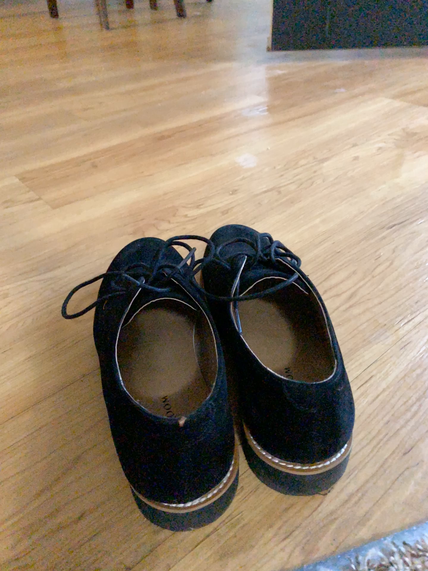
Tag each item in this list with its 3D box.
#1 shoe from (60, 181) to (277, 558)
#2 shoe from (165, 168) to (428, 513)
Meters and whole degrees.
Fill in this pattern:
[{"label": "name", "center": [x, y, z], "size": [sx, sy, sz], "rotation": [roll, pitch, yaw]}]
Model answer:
[{"label": "shoe", "center": [-0.059, 0.020, 0.347], "size": [0.100, 0.070, 0.311], "rotation": [-11, 39, -12]}, {"label": "shoe", "center": [0.036, 0.003, 0.362], "size": [0.110, 0.070, 0.311], "rotation": [-9, 38, -8]}]
